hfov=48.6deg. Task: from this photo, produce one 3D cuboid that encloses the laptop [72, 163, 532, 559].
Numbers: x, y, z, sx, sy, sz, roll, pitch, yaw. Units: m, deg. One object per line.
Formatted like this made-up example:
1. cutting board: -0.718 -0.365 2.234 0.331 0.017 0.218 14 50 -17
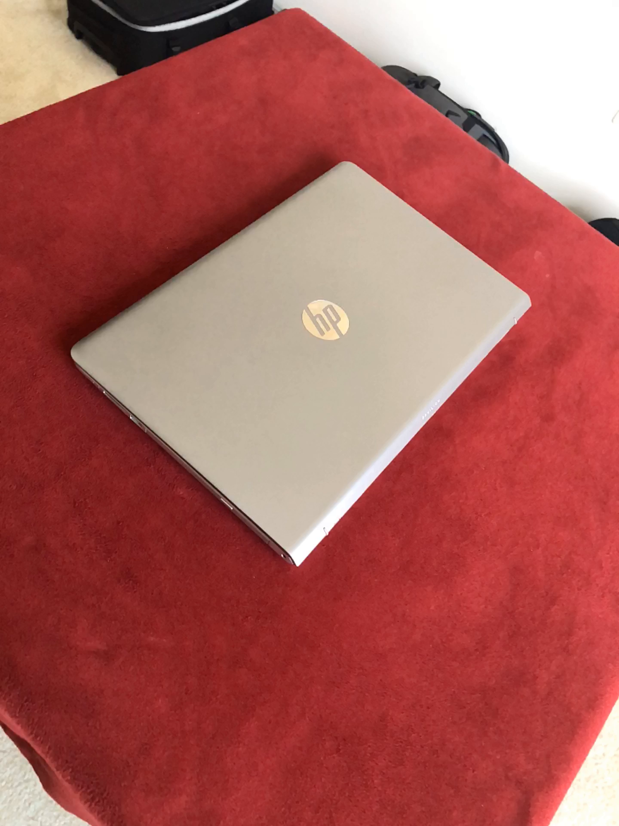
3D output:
1. laptop: 0.016 -0.080 0.612 0.233 0.006 0.373 40 59 12
